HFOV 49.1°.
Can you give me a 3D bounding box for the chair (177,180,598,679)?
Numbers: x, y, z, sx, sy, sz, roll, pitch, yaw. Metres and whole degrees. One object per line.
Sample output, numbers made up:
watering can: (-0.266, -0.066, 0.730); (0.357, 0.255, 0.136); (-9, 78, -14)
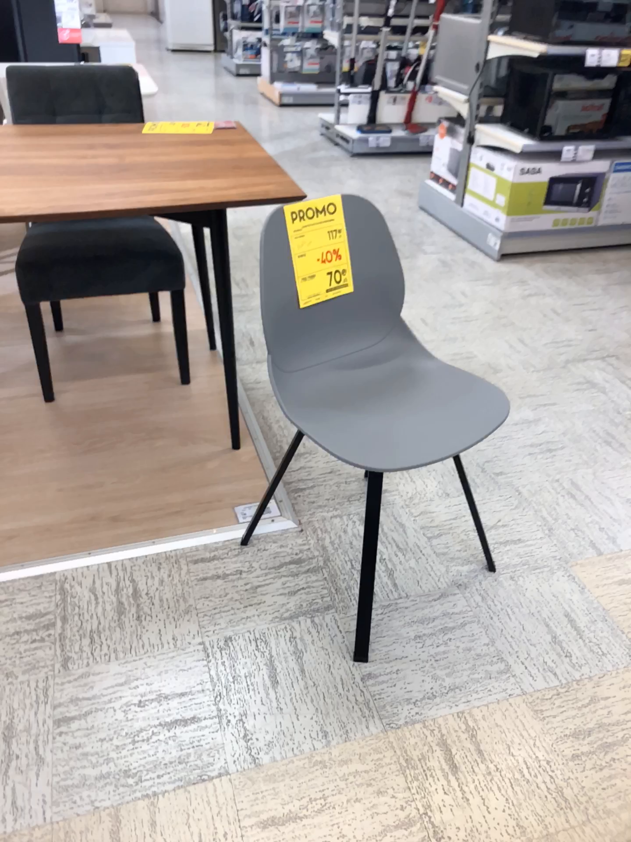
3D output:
chair: (0.109, -0.028, 1.470); (0.513, 0.755, 0.581); (-24, 41, -34)
